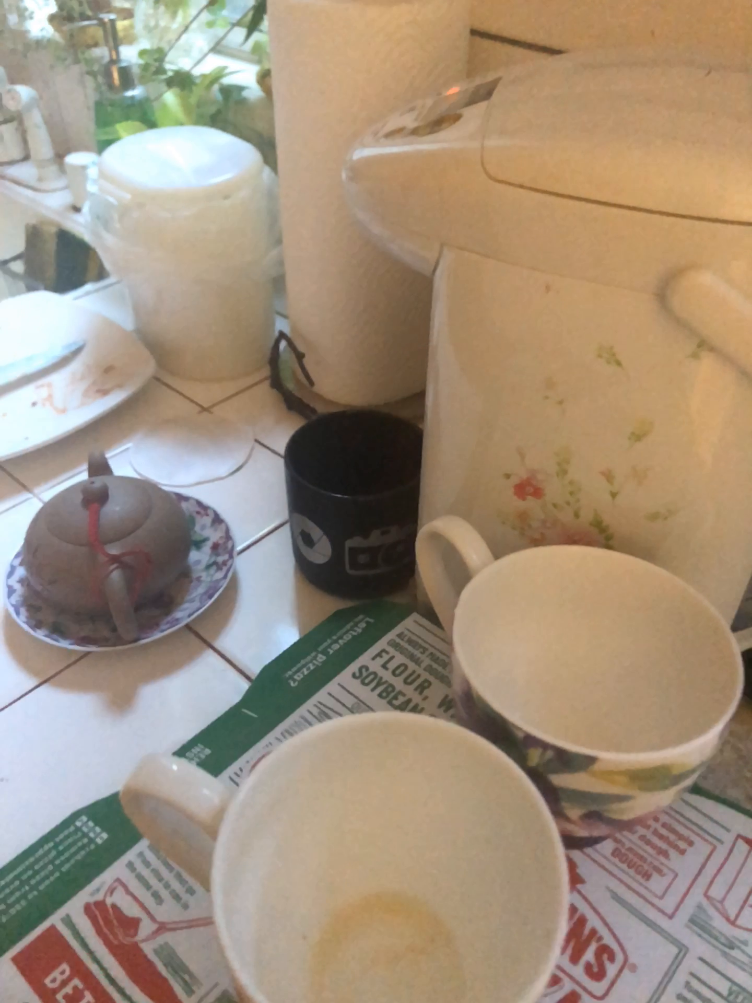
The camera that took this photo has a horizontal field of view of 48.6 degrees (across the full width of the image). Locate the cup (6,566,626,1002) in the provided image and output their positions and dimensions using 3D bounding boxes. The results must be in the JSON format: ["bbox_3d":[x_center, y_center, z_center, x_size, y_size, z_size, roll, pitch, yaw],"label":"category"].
[{"bbox_3d":[-0.020,0.113,0.277,0.160,0.079,0.101,26,46,27],"label":"cup"}]

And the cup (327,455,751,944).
[{"bbox_3d":[0.068,0.069,0.350,0.101,0.079,0.161,-26,47,-28],"label":"cup"}]

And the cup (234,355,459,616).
[{"bbox_3d":[-0.023,-0.016,0.530,0.090,0.079,0.141,-15,43,-18],"label":"cup"}]
